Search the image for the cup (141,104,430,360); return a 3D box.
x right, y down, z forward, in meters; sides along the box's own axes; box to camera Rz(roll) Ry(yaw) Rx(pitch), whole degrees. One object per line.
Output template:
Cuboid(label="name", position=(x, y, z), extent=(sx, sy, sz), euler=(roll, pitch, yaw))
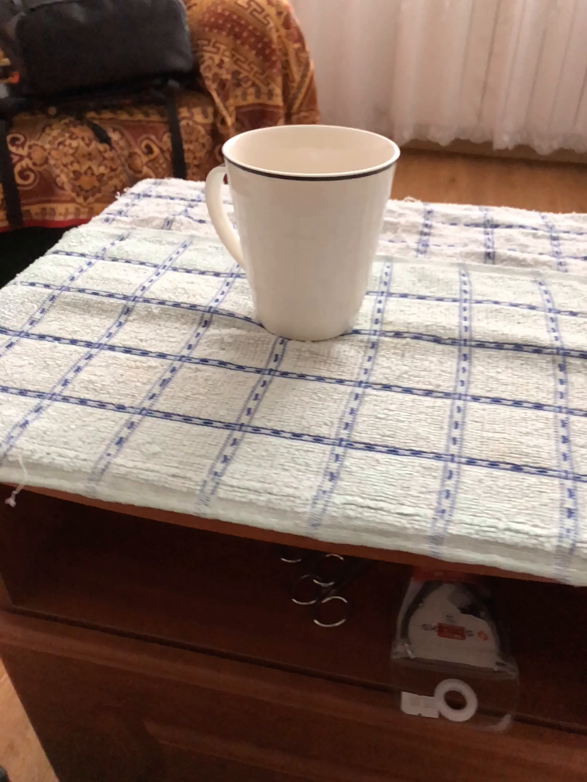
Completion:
Cuboid(label="cup", position=(-0.006, -0.097, 0.368), extent=(0.123, 0.090, 0.091), euler=(28, 44, 31))
